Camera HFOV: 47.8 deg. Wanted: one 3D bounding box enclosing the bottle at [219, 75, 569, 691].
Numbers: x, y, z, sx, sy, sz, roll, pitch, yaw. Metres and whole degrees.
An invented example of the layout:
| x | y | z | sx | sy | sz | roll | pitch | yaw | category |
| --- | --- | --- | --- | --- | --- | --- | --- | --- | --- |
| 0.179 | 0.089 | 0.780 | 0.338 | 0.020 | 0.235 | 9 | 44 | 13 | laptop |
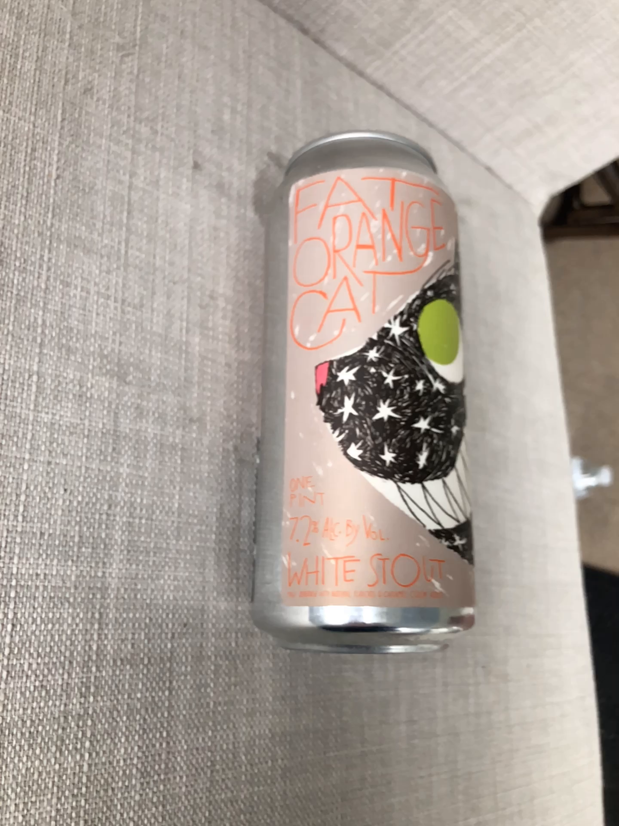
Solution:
| x | y | z | sx | sy | sz | roll | pitch | yaw | category |
| --- | --- | --- | --- | --- | --- | --- | --- | --- | --- |
| 0.026 | -0.004 | 0.214 | 0.070 | 0.069 | 0.150 | 14 | 73 | -44 | bottle |
